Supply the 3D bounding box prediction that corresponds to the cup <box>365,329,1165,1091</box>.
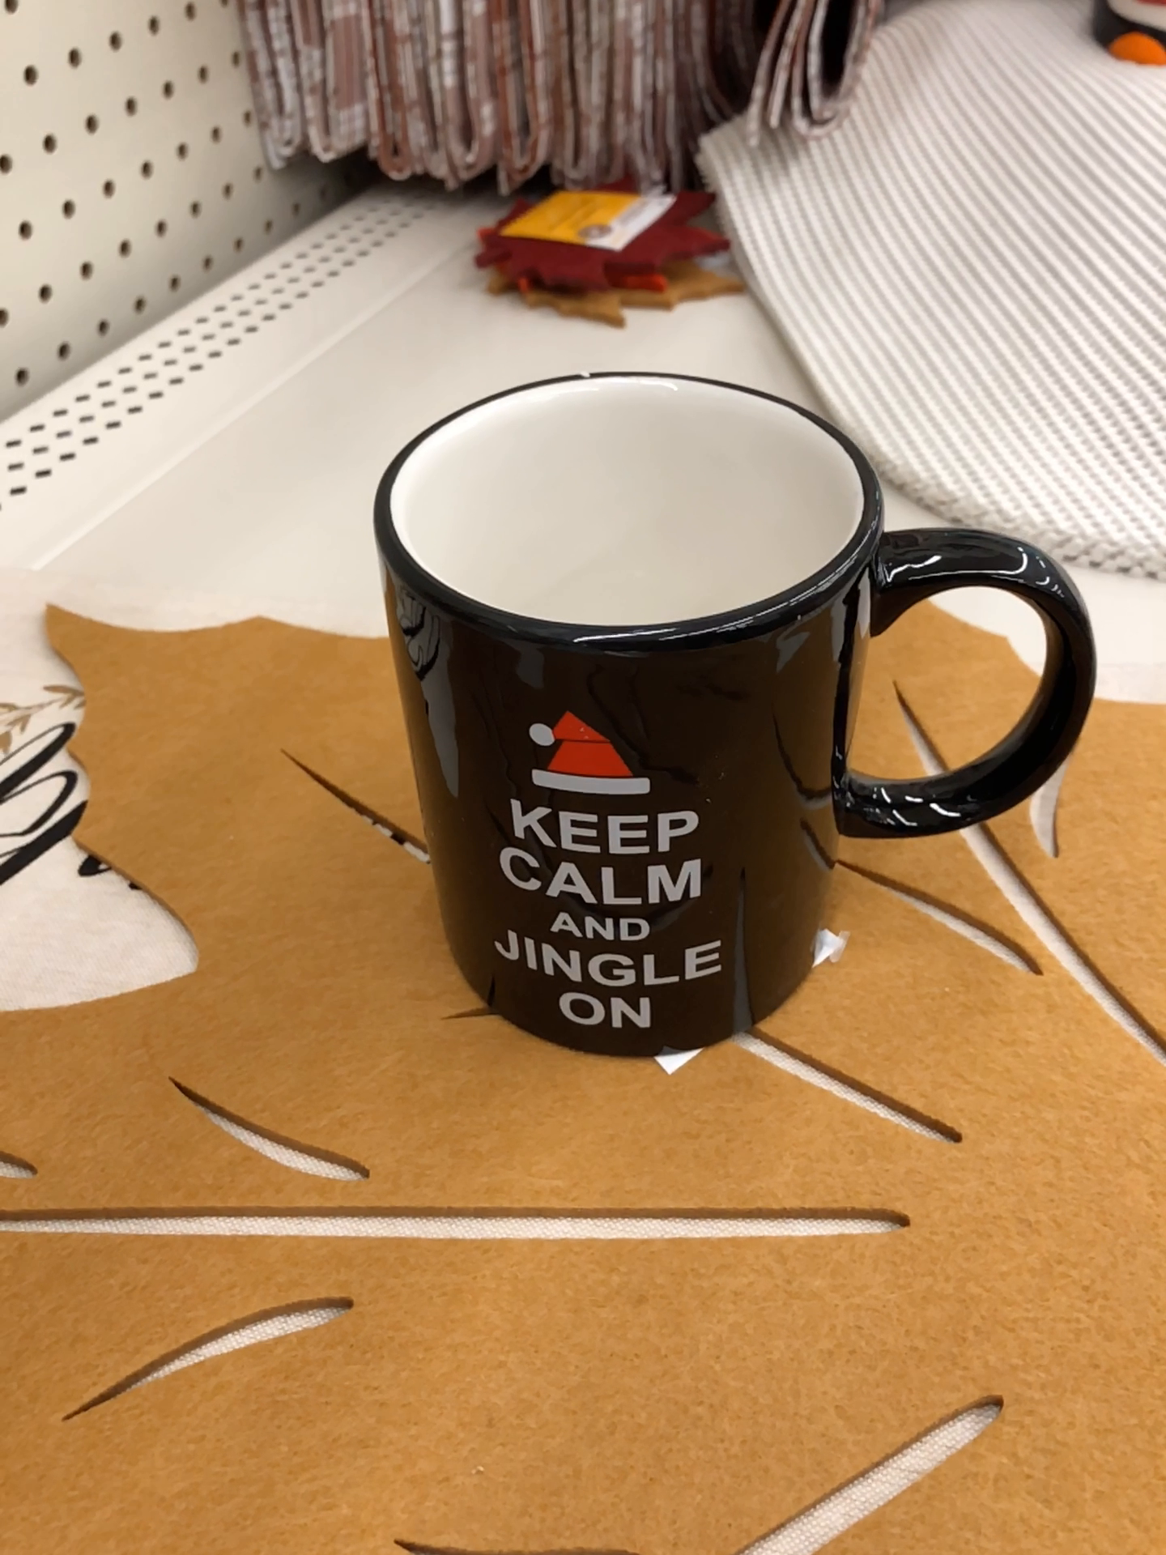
[{"bbox_3d":[0.032,-0.013,0.260,0.130,0.110,0.090,-4,42,-2],"label":"cup"}]
